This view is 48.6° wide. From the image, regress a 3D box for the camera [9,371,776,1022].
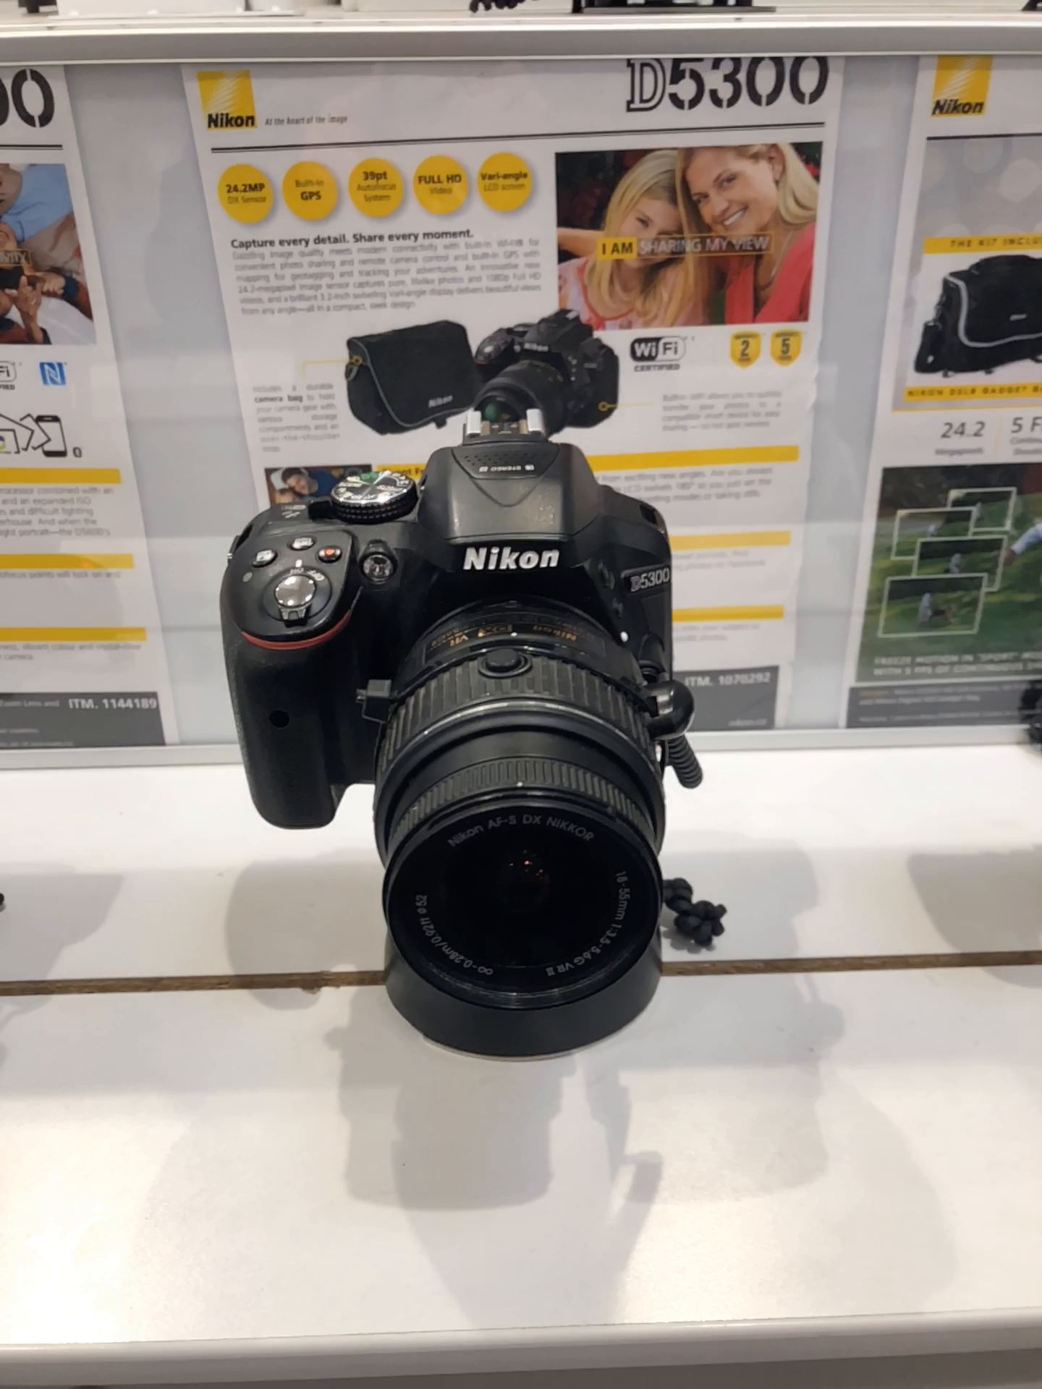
[{"bbox_3d":[-0.025,-0.012,0.283,0.130,0.089,0.151,-2,31,-2],"label":"camera"}]
